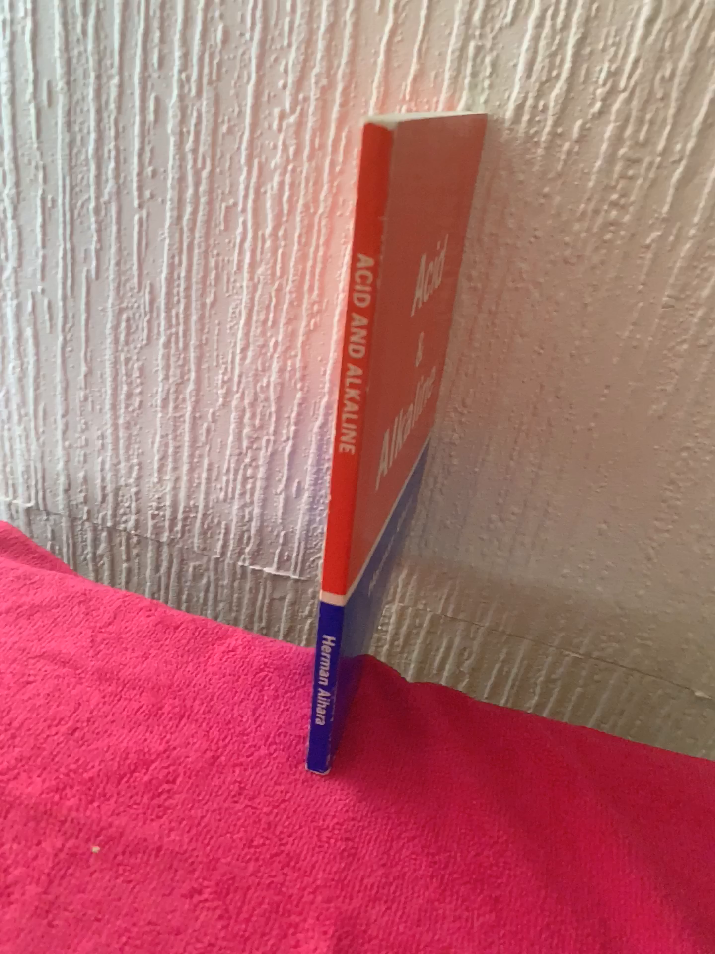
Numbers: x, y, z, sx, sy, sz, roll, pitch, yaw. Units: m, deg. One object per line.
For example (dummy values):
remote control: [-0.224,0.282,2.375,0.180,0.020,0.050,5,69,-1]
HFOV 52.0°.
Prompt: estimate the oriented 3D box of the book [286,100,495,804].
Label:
book: [0.014,-0.017,0.264,0.020,0.208,0.151,12,29,9]
